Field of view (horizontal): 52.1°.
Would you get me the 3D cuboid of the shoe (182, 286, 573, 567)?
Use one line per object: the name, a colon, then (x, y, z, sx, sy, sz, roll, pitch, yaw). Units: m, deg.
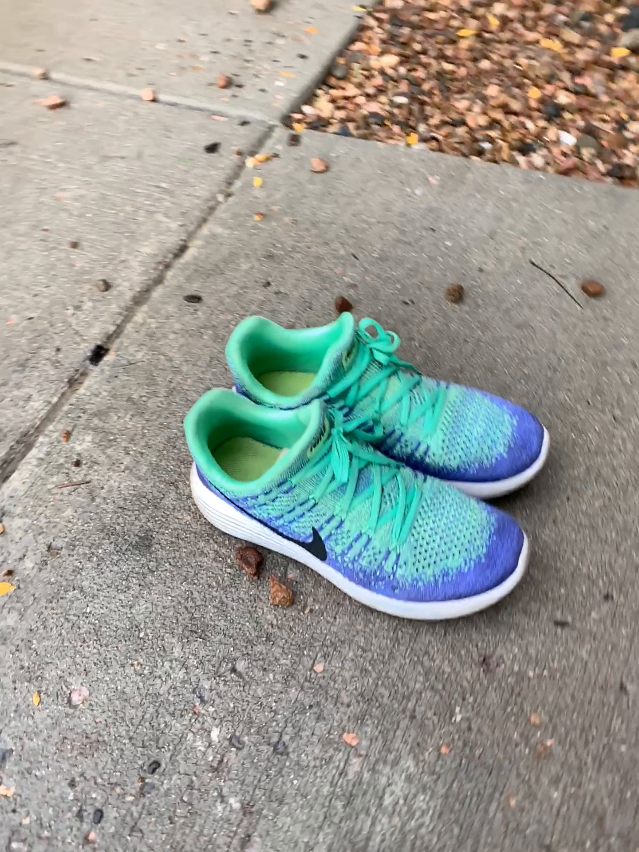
shoe: (0.047, -0.003, 0.571, 0.290, 0.110, 0.120, 19, 59, 12)

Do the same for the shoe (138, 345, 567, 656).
shoe: (0.021, 0.051, 0.481, 0.270, 0.110, 0.100, 19, 53, 12)
